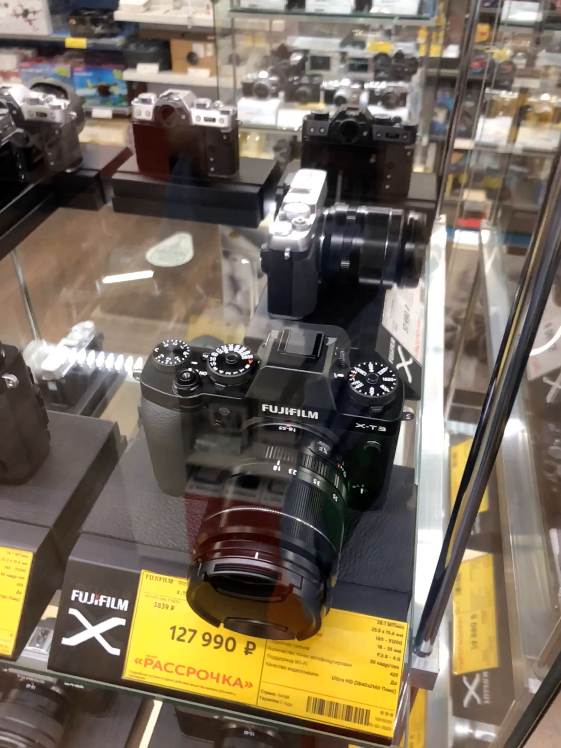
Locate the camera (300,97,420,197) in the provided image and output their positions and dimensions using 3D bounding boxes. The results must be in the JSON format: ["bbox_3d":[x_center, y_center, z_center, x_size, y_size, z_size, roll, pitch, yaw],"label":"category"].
[{"bbox_3d":[0.081,-0.235,0.643,0.109,0.074,0.056,10,39,11],"label":"camera"}]

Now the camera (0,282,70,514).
[{"bbox_3d":[-0.197,0.012,0.339,0.125,0.088,0.066,8,39,8],"label":"camera"}]

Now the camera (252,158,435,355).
[{"bbox_3d":[0.051,-0.095,0.478,0.115,0.088,0.126,9,39,10],"label":"camera"}]

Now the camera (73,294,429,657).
[{"bbox_3d":[-0.003,0.042,0.298,0.129,0.099,0.120,6,39,7],"label":"camera"}]

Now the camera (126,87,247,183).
[{"bbox_3d":[-0.097,-0.256,0.665,0.109,0.074,0.056,10,39,11],"label":"camera"}]
